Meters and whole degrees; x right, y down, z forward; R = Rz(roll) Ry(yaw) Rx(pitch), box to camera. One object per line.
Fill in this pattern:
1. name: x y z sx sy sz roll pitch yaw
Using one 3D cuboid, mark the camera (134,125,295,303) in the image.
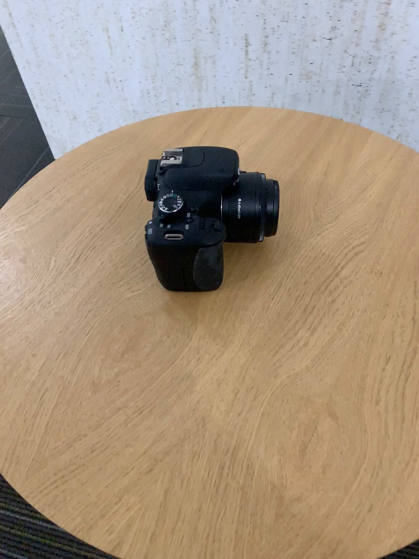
1. camera: 0.009 -0.061 0.398 0.120 0.100 0.130 1 52 4
